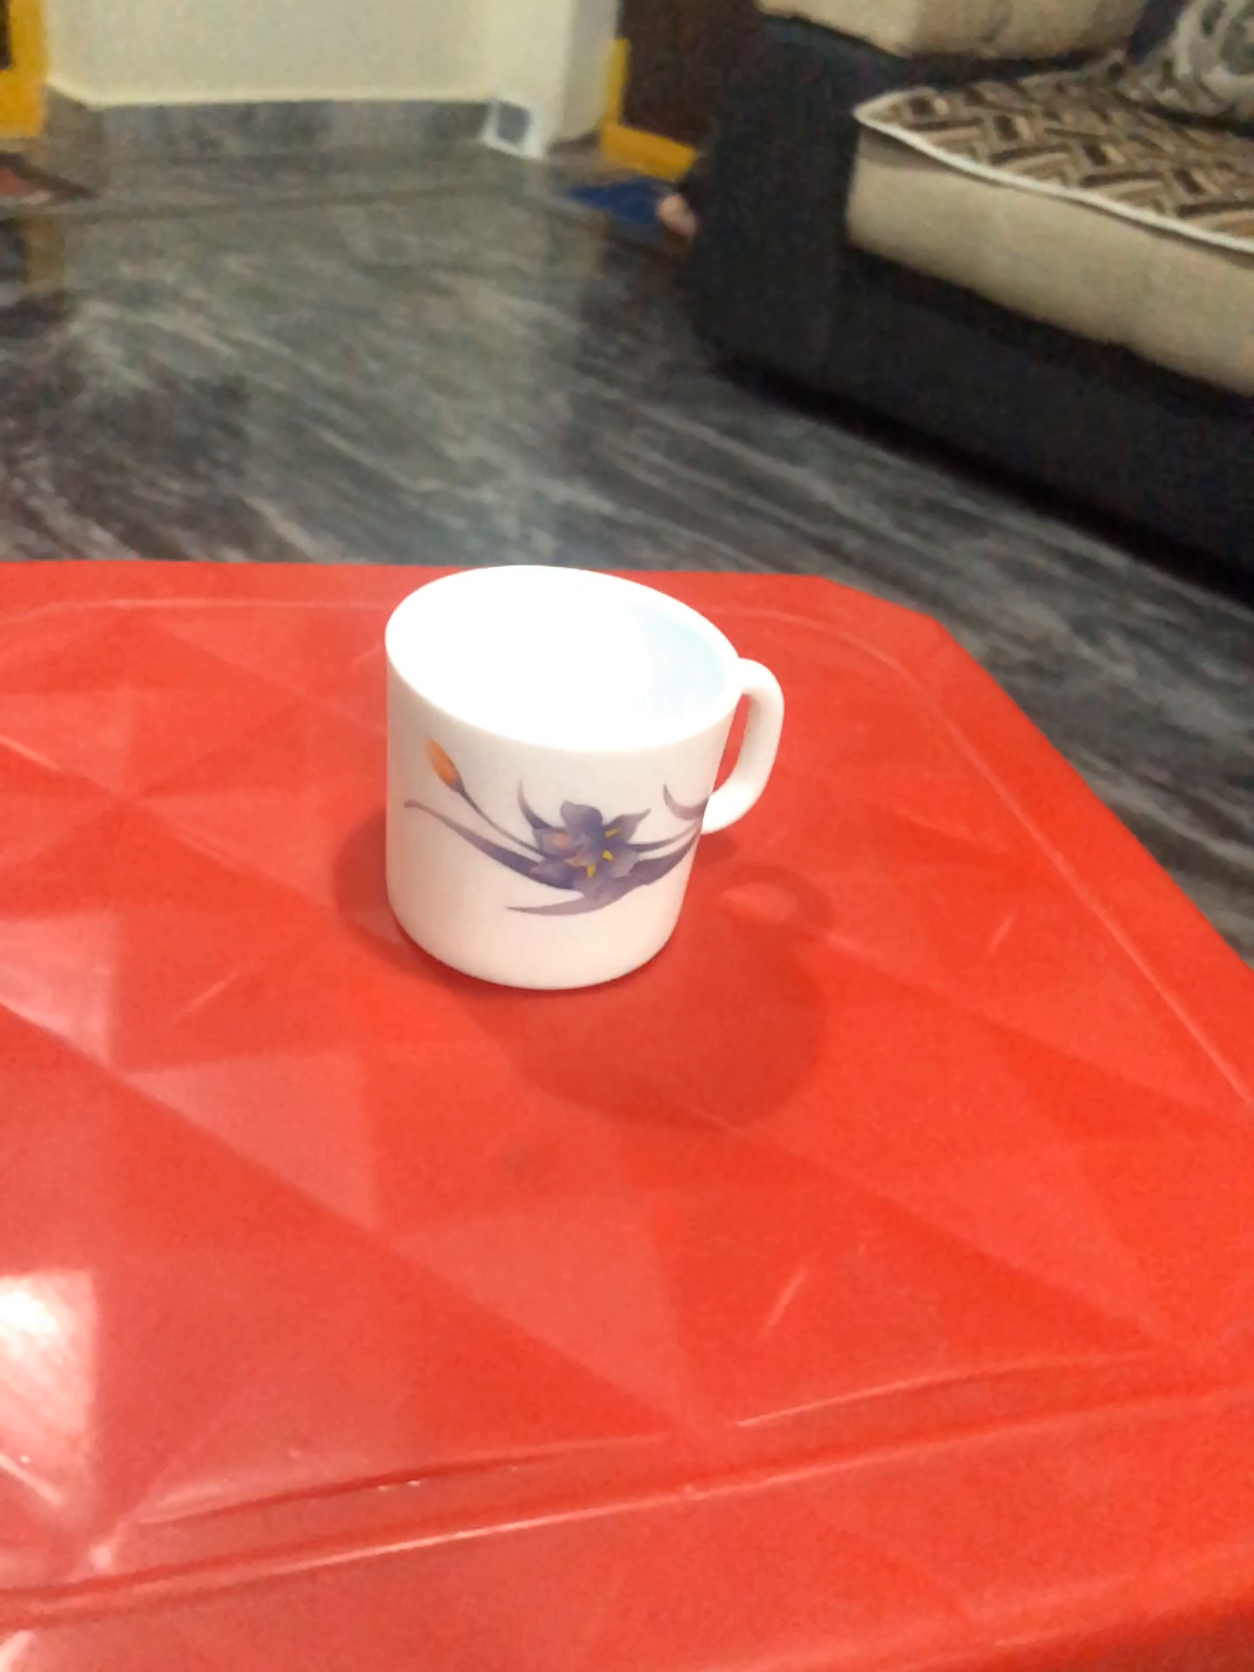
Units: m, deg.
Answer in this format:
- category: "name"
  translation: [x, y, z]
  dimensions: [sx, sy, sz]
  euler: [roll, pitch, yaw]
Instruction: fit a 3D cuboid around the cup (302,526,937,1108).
- category: "cup"
  translation: [-0.004, -0.010, 0.268]
  dimensions: [0.090, 0.060, 0.070]
  euler: [-22, 47, -37]
